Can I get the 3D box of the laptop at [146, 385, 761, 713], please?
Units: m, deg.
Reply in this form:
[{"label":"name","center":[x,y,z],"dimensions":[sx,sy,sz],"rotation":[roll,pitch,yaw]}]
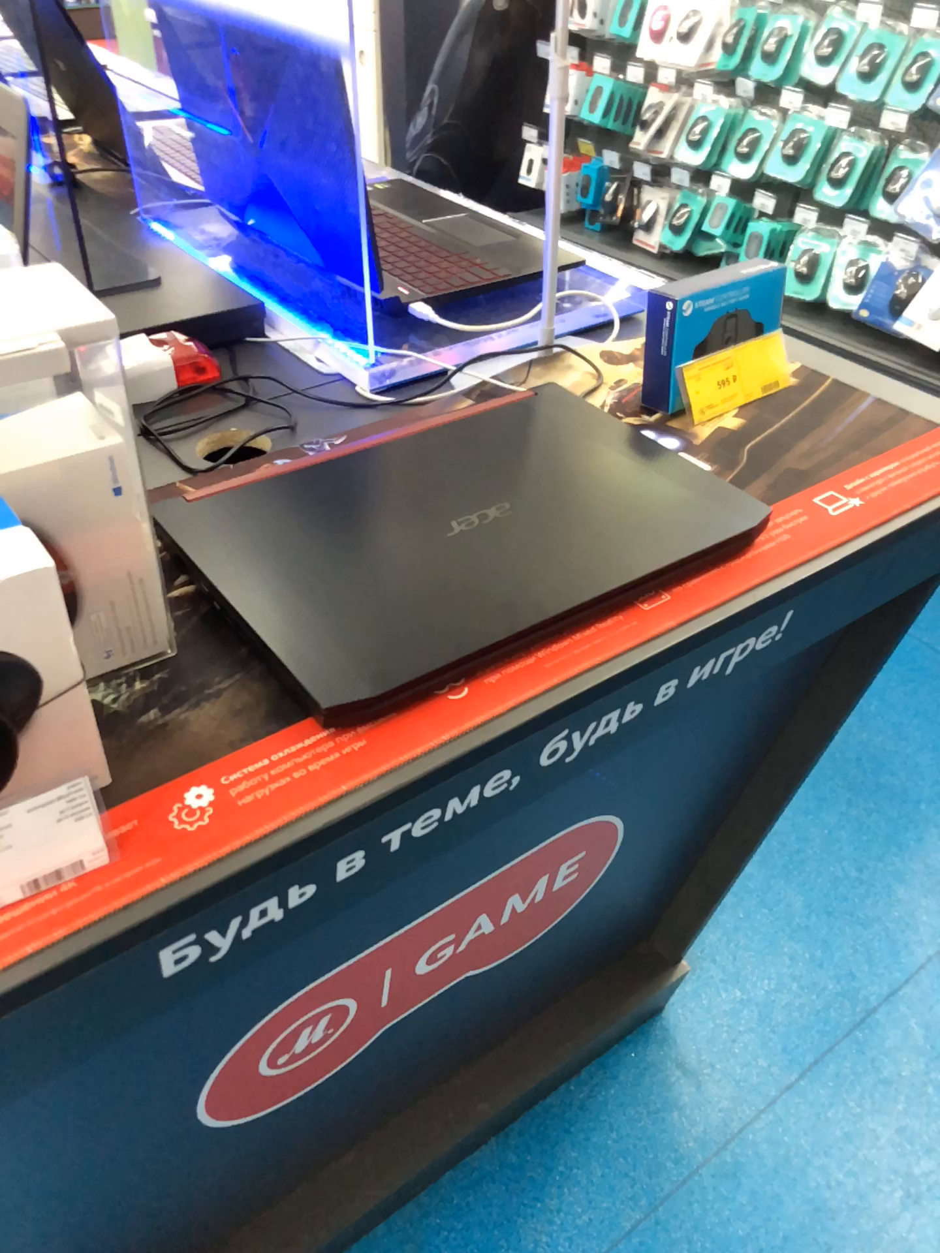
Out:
[{"label":"laptop","center":[-0.008,-0.079,0.709],"dimensions":[0.351,0.005,0.243],"rotation":[-23,45,-29]}]
